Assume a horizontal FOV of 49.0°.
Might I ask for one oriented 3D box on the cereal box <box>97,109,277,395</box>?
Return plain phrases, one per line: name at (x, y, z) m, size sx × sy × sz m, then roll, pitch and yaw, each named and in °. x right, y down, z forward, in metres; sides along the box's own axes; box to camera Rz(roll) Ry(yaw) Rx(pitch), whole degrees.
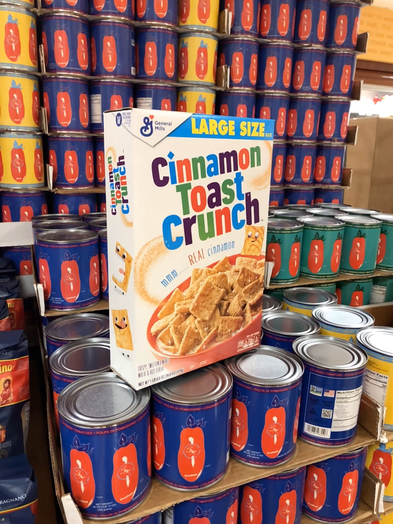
cereal box at (-0.009, -0.020, 0.524) m, size 0.201 × 0.299 × 0.070 m, roll -9°, pitch 18°, yaw -36°
